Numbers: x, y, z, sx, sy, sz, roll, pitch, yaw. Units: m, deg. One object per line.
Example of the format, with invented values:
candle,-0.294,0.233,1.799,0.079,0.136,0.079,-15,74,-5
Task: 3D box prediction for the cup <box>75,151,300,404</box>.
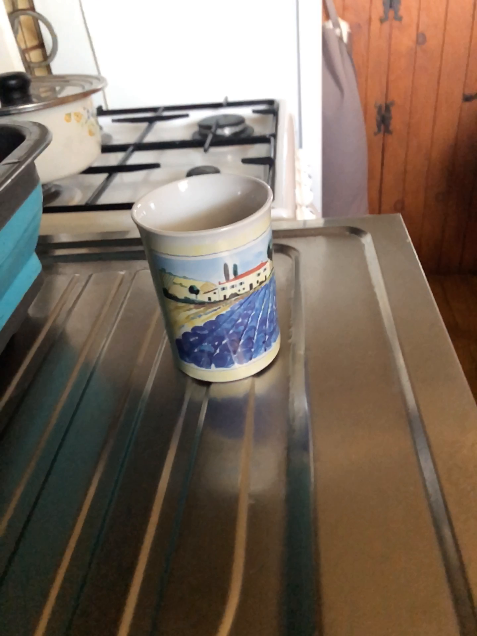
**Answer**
cup,-0.029,-0.030,0.314,0.070,0.099,0.110,-29,40,-30
